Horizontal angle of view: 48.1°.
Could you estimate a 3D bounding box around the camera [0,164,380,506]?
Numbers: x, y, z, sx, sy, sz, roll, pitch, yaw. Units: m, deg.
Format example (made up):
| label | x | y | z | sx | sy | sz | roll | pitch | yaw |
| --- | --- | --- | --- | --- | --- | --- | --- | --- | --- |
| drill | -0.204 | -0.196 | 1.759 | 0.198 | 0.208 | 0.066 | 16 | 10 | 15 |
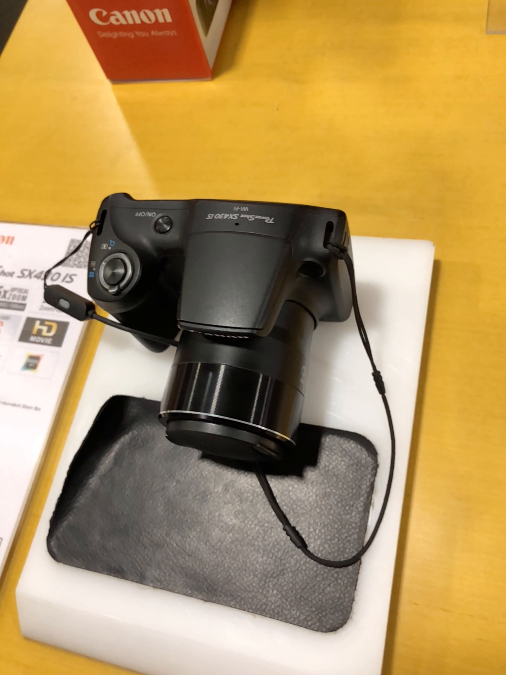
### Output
| label | x | y | z | sx | sy | sz | roll | pitch | yaw |
| --- | --- | --- | --- | --- | --- | --- | --- | --- | --- |
| camera | -0.014 | 0.002 | 0.214 | 0.110 | 0.090 | 0.090 | 6 | 69 | 16 |
